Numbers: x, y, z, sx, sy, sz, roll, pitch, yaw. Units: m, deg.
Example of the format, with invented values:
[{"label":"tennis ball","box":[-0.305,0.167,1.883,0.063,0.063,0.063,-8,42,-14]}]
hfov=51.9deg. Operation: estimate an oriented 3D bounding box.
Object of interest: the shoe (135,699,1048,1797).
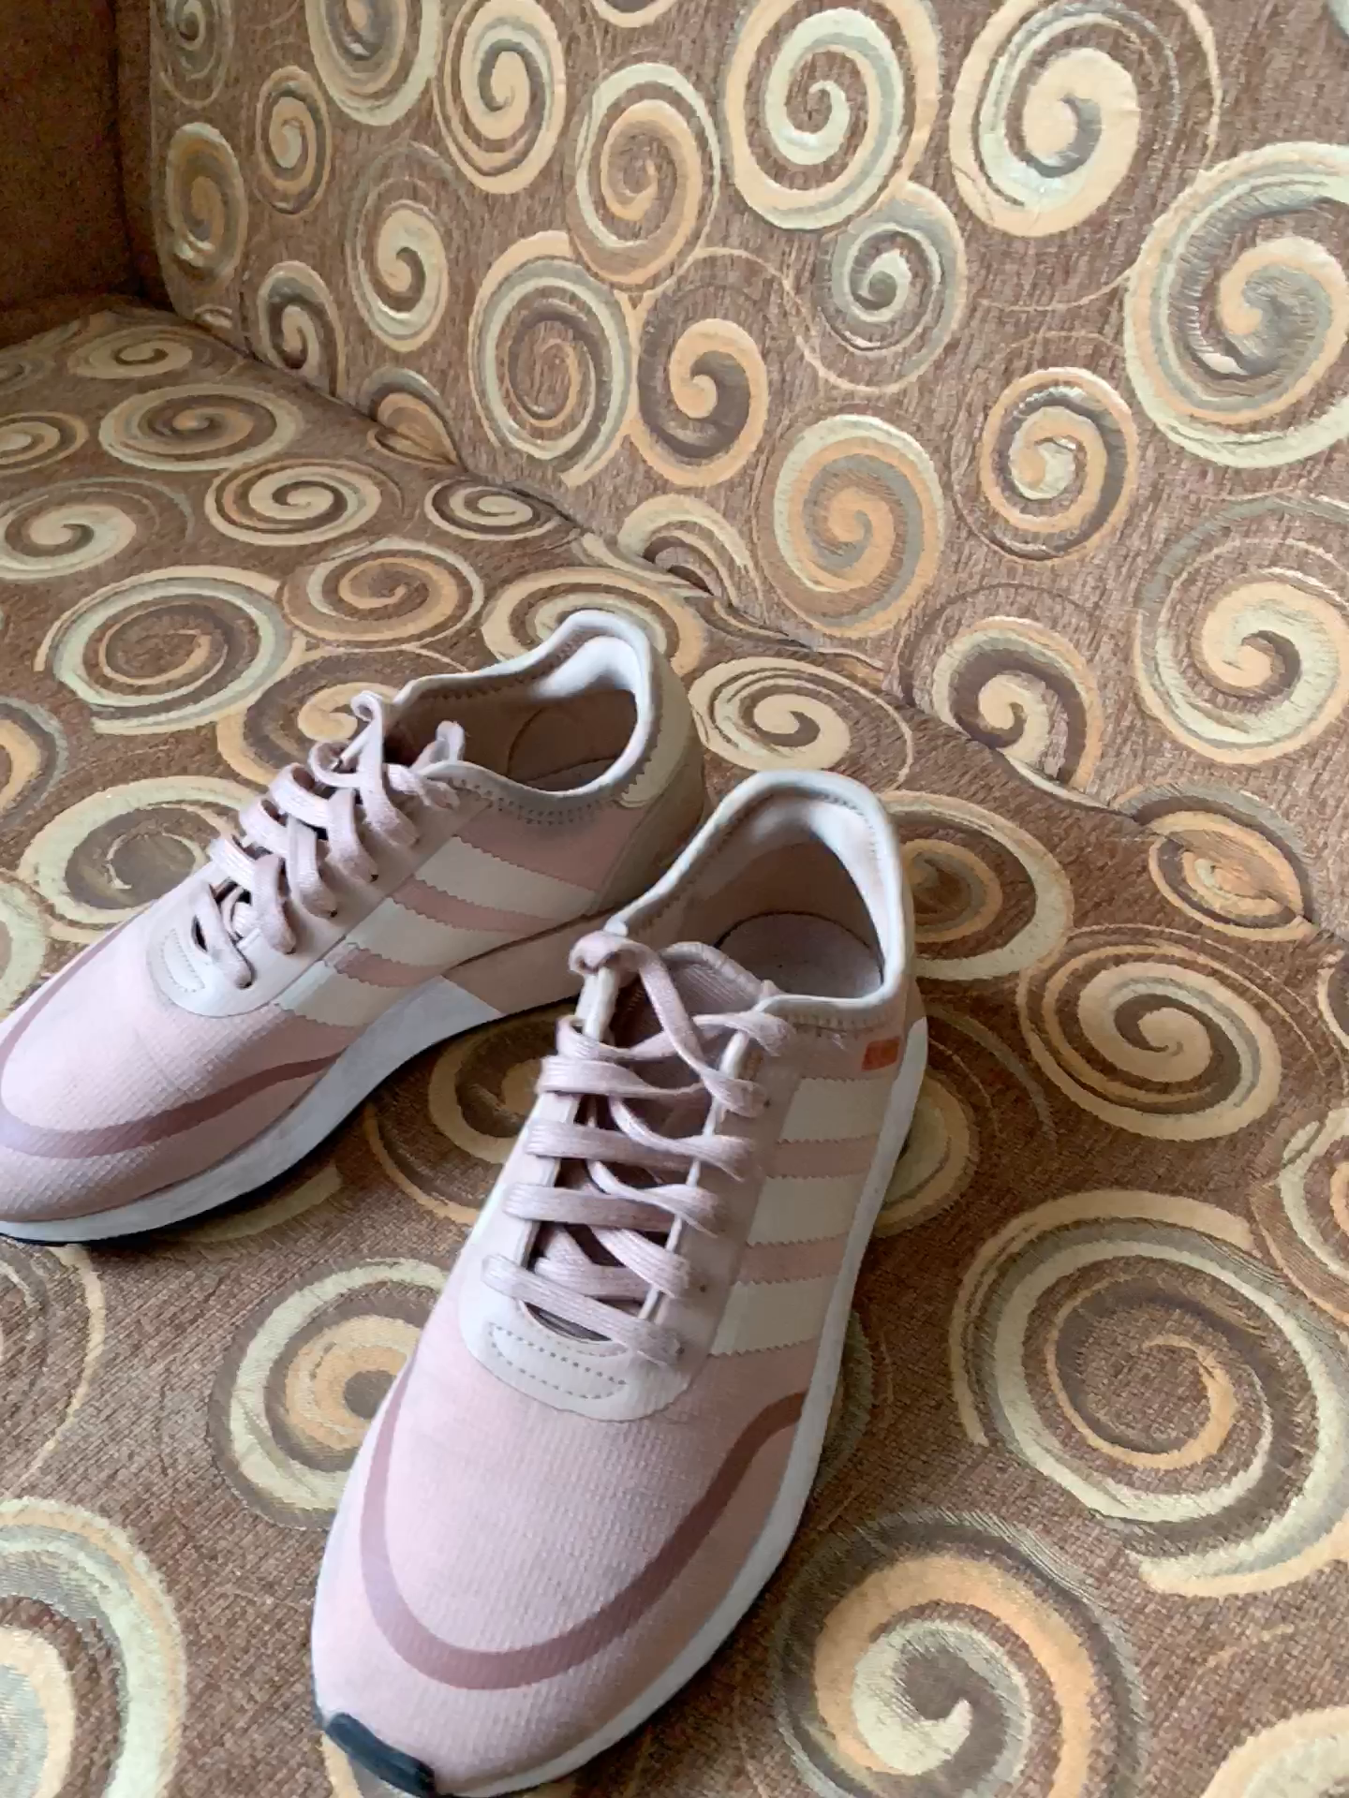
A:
[{"label":"shoe","box":[0.003,0.076,0.334,0.100,0.090,0.251,17,53,16]}]

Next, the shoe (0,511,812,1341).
[{"label":"shoe","box":[-0.092,-0.003,0.393,0.250,0.090,0.100,-29,55,-21]}]
